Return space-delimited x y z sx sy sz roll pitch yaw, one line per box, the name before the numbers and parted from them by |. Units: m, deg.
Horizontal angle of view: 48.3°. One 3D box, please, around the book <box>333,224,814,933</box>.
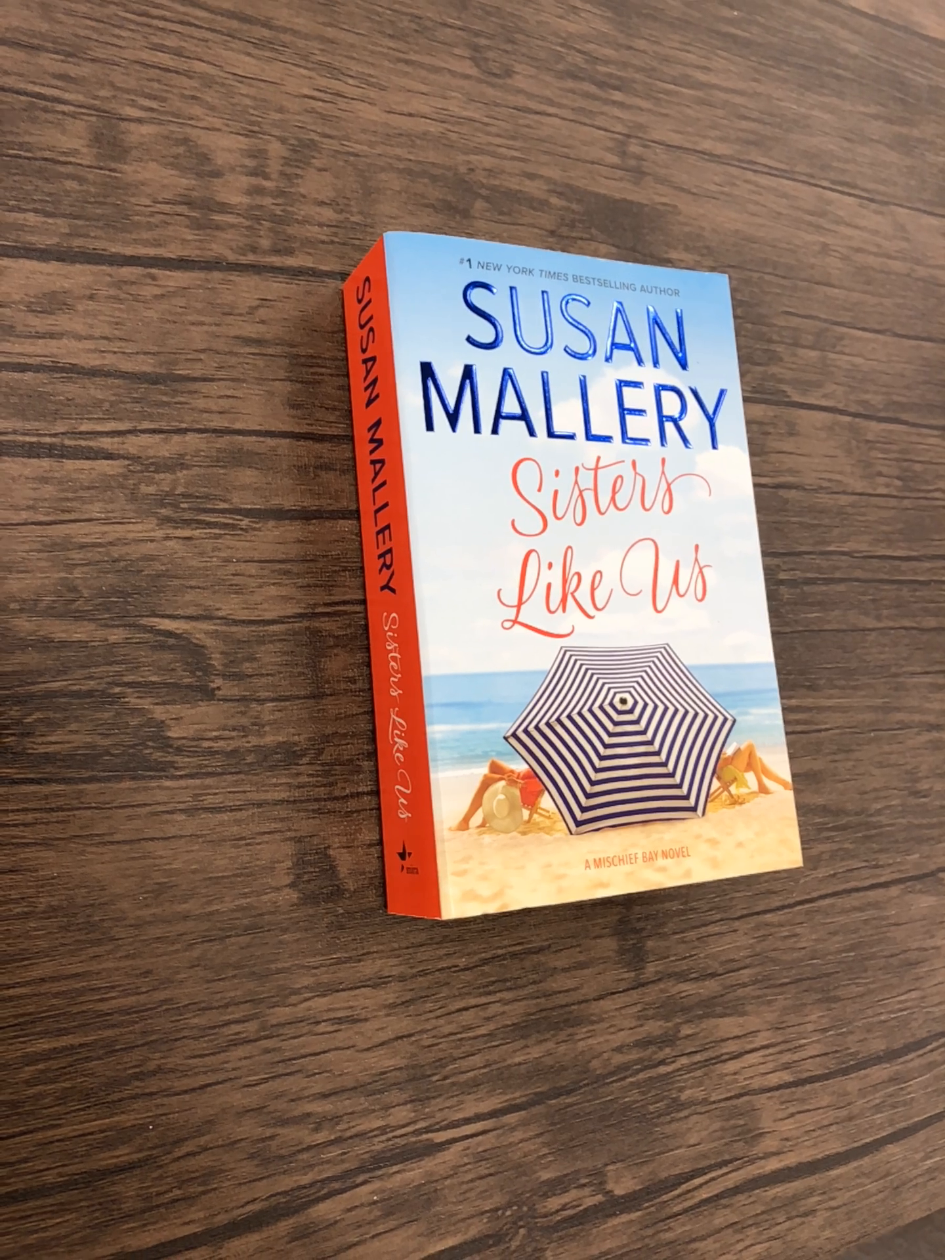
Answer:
book | 0.025 -0.013 0.275 0.104 0.043 0.160 -1 82 -24
